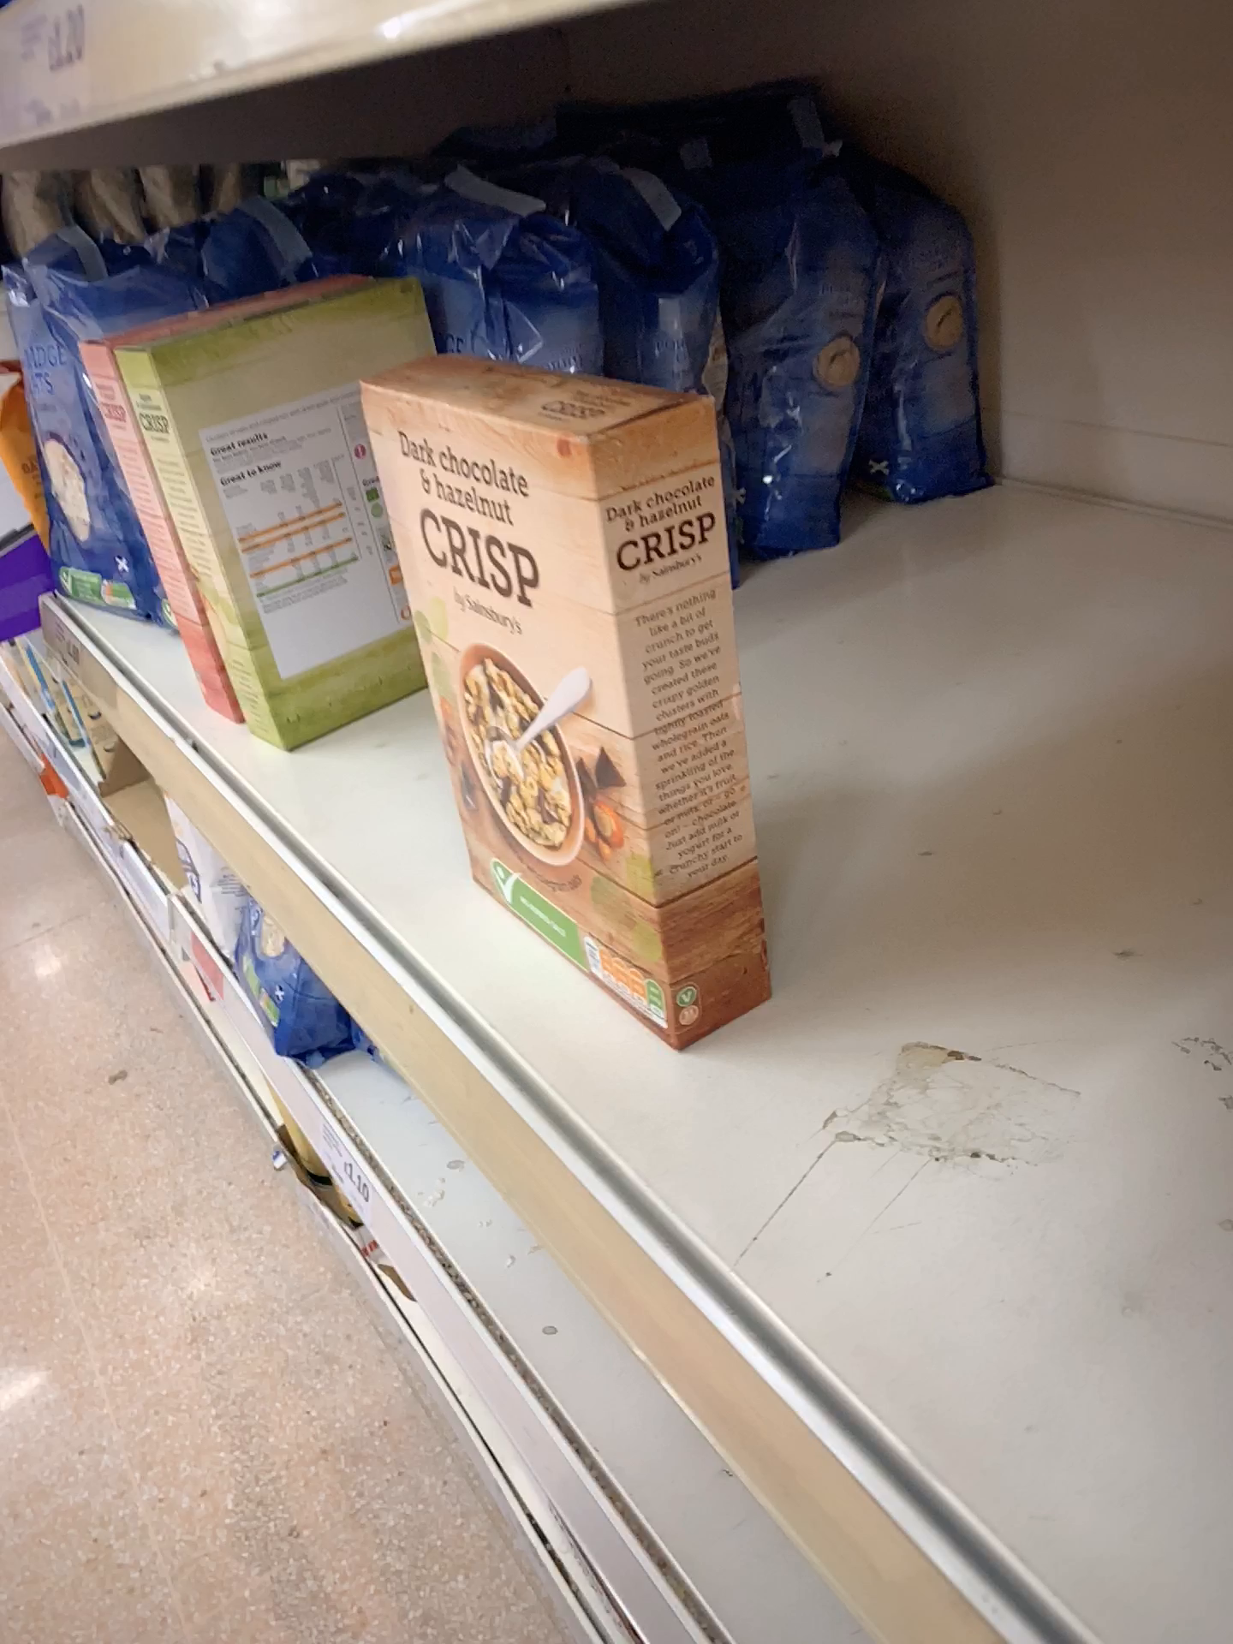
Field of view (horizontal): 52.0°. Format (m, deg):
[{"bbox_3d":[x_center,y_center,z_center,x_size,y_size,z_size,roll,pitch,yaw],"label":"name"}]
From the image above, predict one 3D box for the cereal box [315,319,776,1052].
[{"bbox_3d":[-0.029,-0.062,0.515,0.060,0.248,0.191,-24,33,-25],"label":"cereal box"}]
